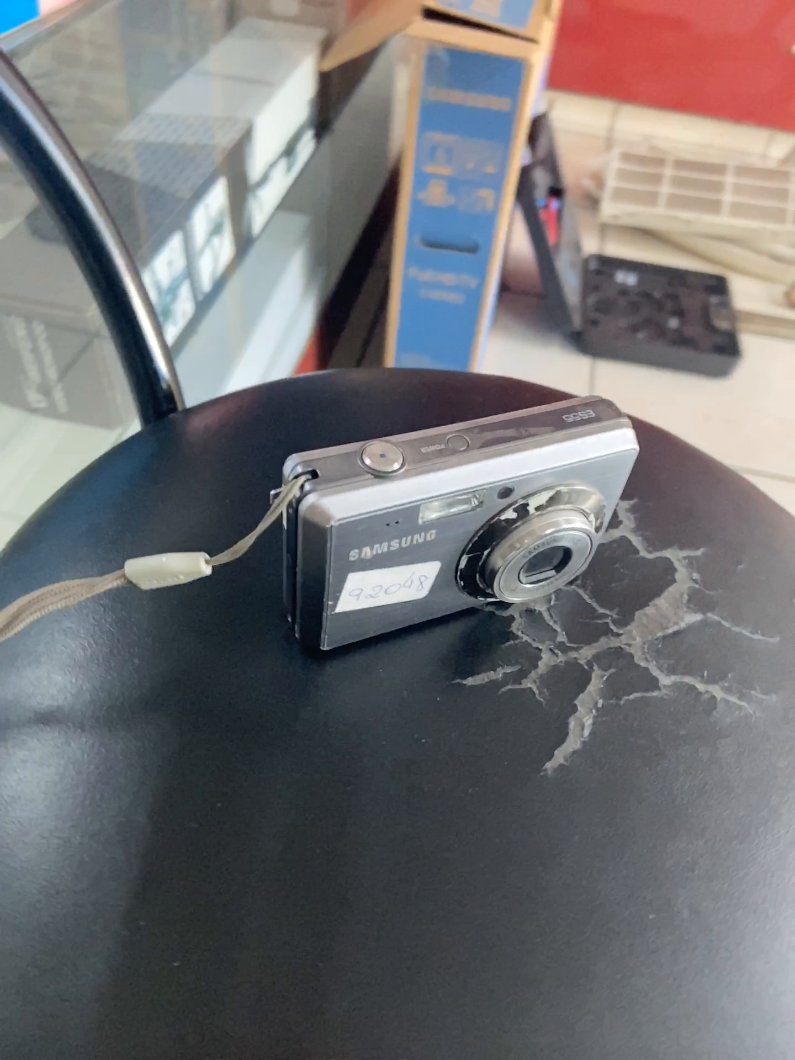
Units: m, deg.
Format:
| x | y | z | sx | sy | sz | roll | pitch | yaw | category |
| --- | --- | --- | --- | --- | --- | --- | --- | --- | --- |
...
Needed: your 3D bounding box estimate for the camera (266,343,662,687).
| x | y | z | sx | sy | sz | roll | pitch | yaw | category |
| --- | --- | --- | --- | --- | --- | --- | --- | --- | --- |
| 0.014 | -0.004 | 0.230 | 0.090 | 0.070 | 0.040 | -14 | 51 | -19 | camera |
